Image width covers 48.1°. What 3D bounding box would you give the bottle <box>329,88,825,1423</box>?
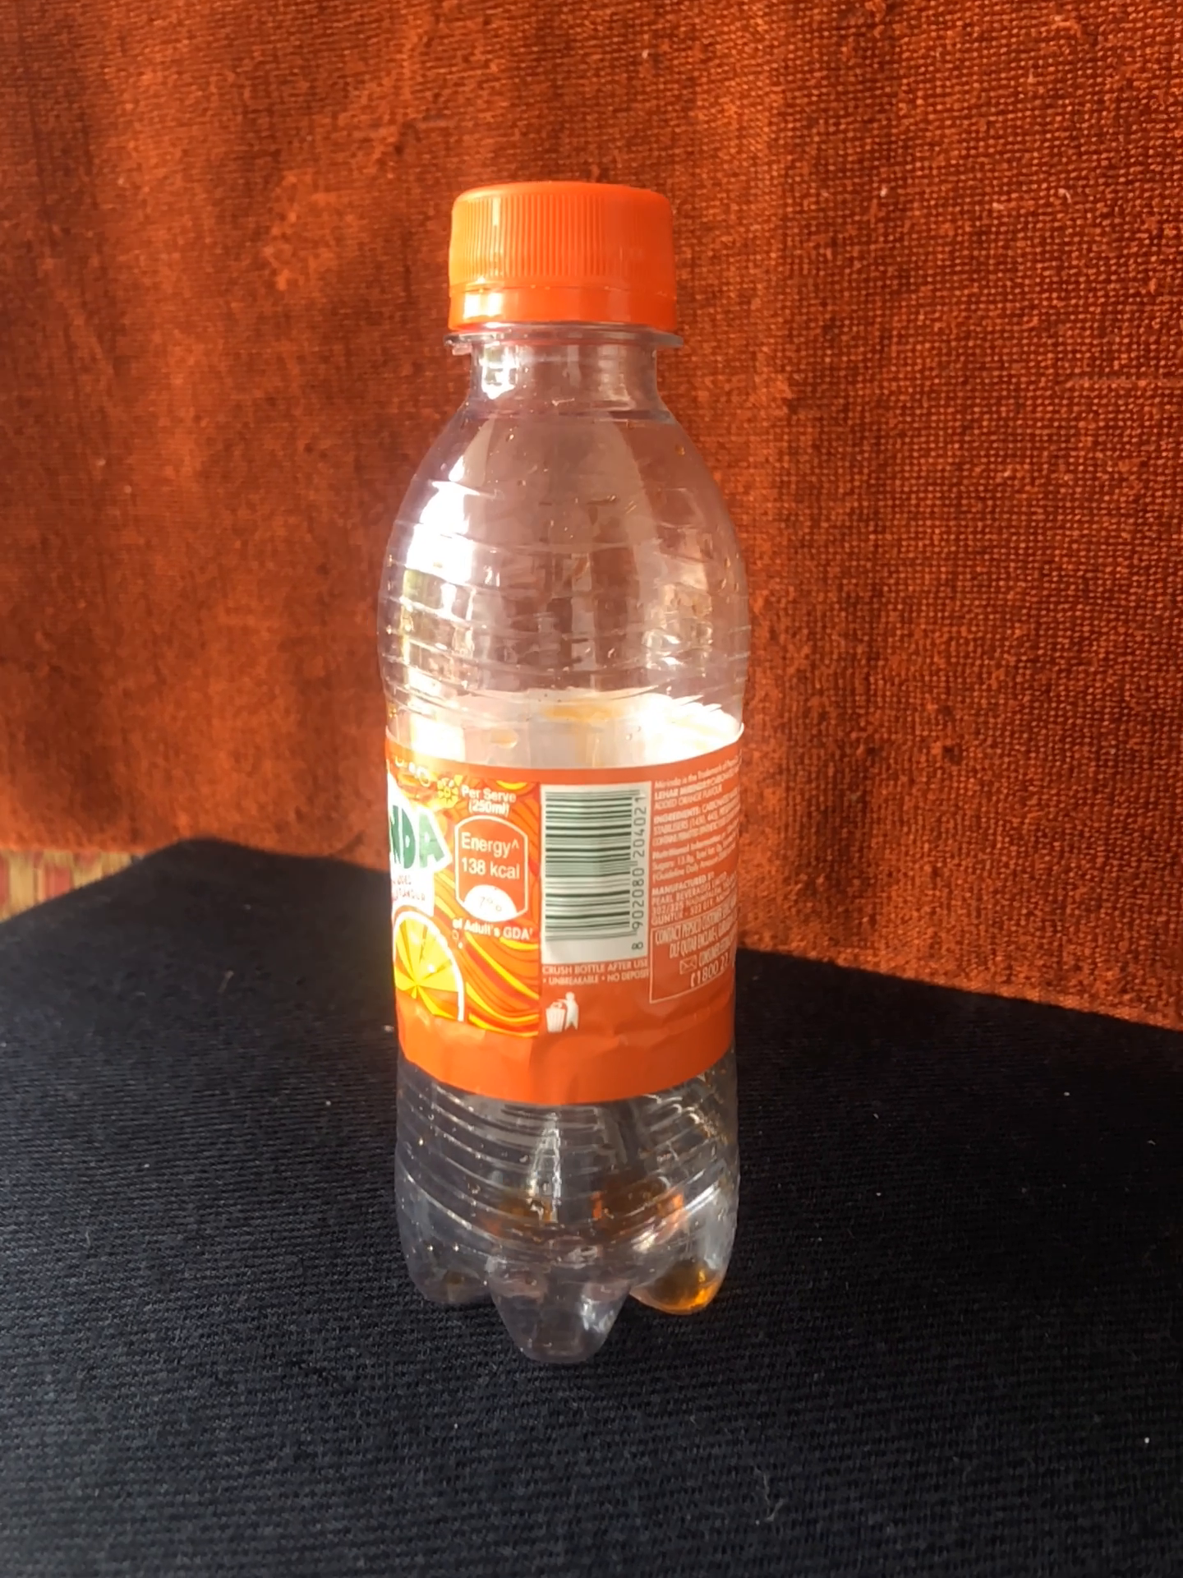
[{"bbox_3d":[-0.006,-0.002,0.184,0.050,0.159,0.060,-3,18,-10],"label":"bottle"}]
